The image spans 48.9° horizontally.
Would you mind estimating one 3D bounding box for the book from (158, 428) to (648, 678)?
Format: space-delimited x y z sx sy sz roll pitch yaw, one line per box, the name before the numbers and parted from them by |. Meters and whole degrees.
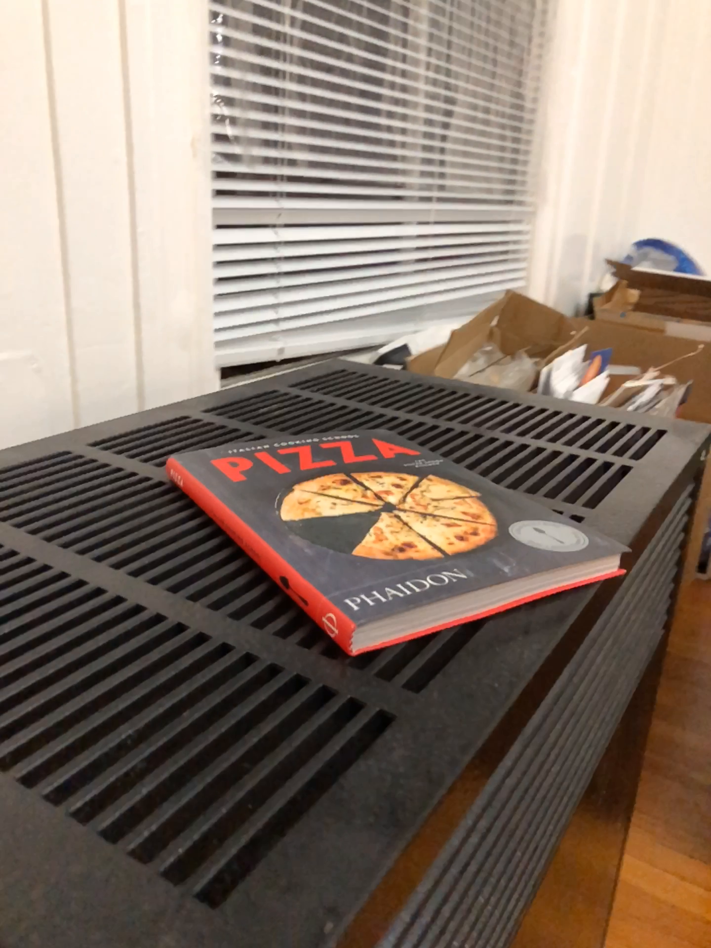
book | 0.012 0.024 0.449 0.180 0.020 0.231 -10 23 -30
